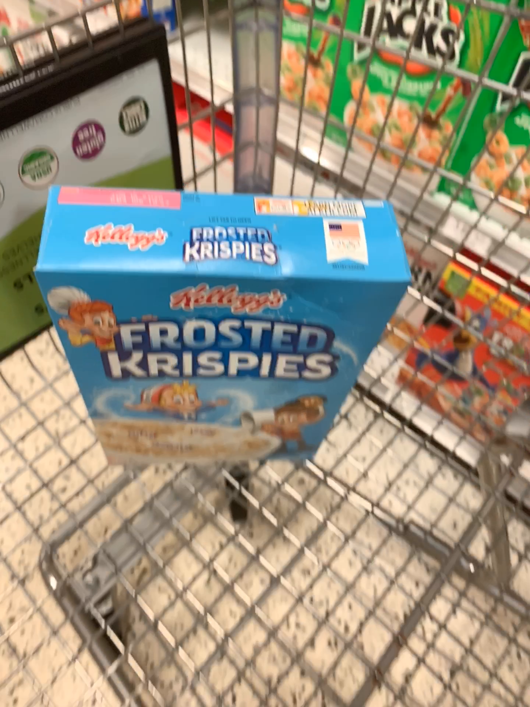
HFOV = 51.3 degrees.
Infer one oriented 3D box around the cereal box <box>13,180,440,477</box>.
[{"bbox_3d":[-0.029,0.016,0.412,0.200,0.317,0.061,1,61,-5],"label":"cereal box"}]
